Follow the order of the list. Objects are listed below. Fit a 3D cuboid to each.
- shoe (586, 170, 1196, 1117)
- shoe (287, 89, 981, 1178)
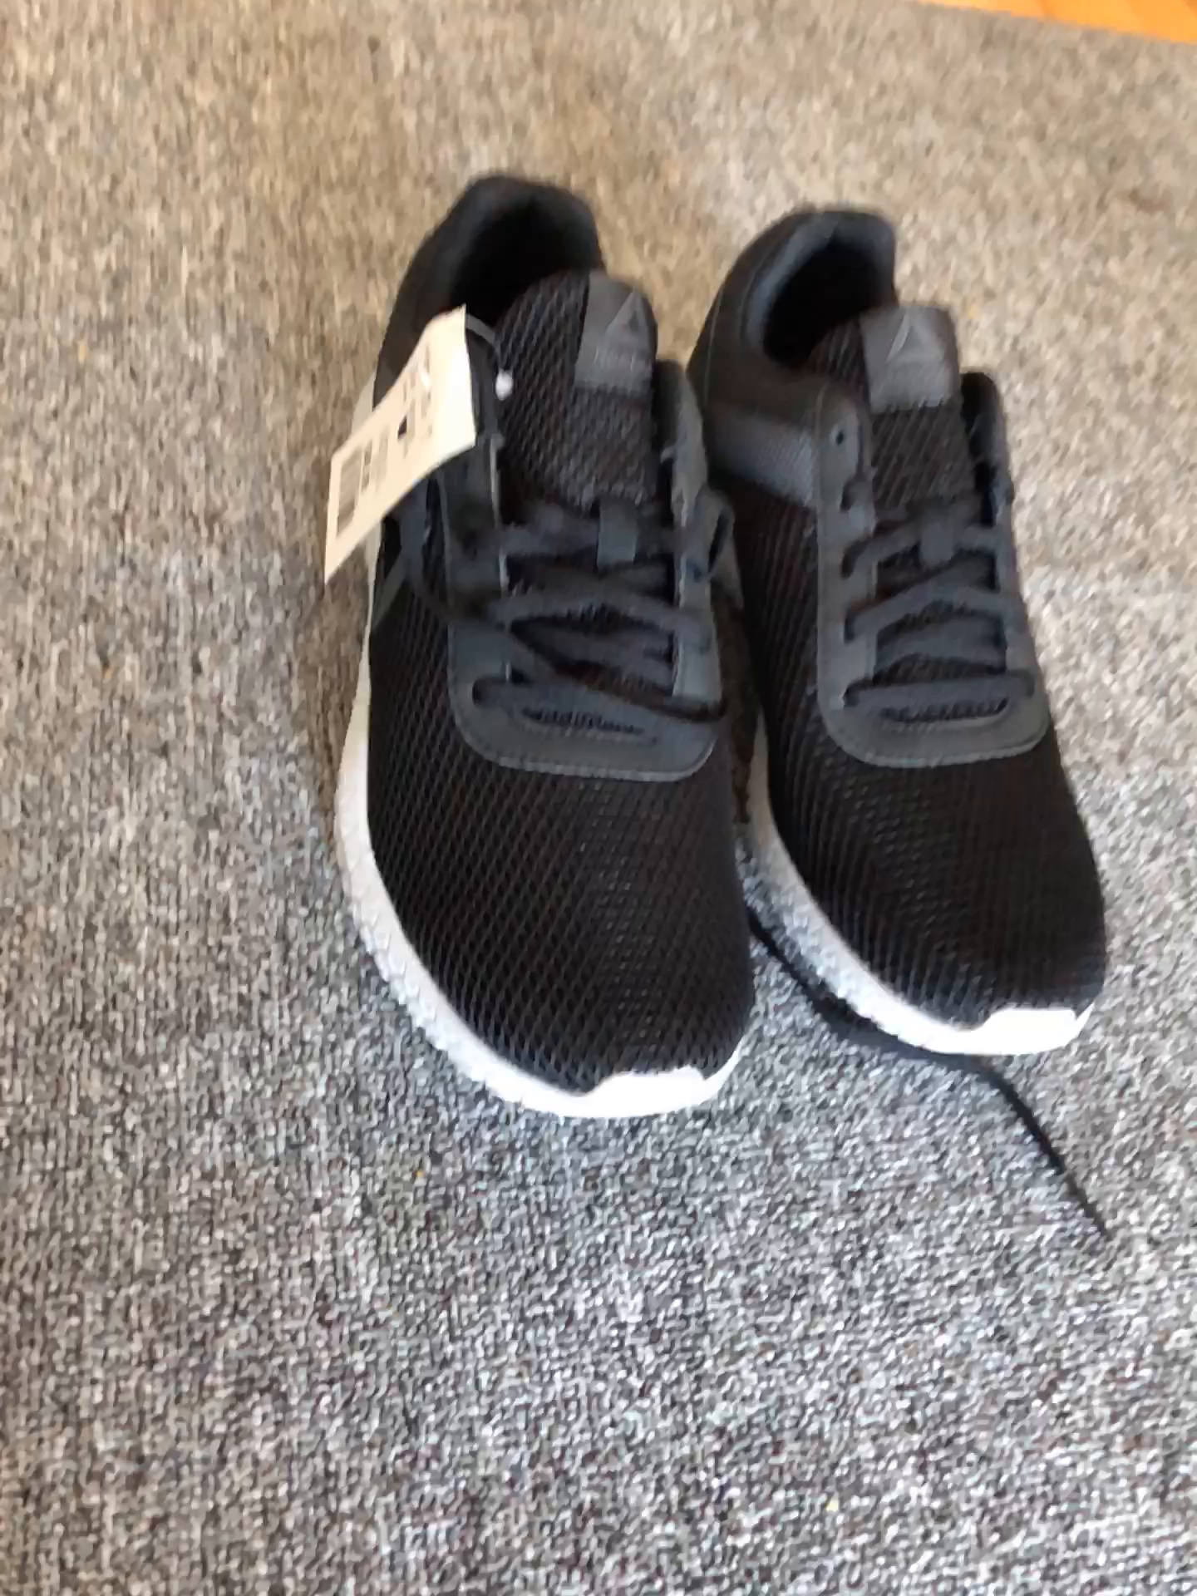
[{"bbox_3d":[0.092,-0.065,0.430,0.110,0.099,0.302,-4,58,-18],"label":"shoe"},{"bbox_3d":[-0.017,-0.063,0.376,0.116,0.099,0.302,-2,57,-17],"label":"shoe"}]
